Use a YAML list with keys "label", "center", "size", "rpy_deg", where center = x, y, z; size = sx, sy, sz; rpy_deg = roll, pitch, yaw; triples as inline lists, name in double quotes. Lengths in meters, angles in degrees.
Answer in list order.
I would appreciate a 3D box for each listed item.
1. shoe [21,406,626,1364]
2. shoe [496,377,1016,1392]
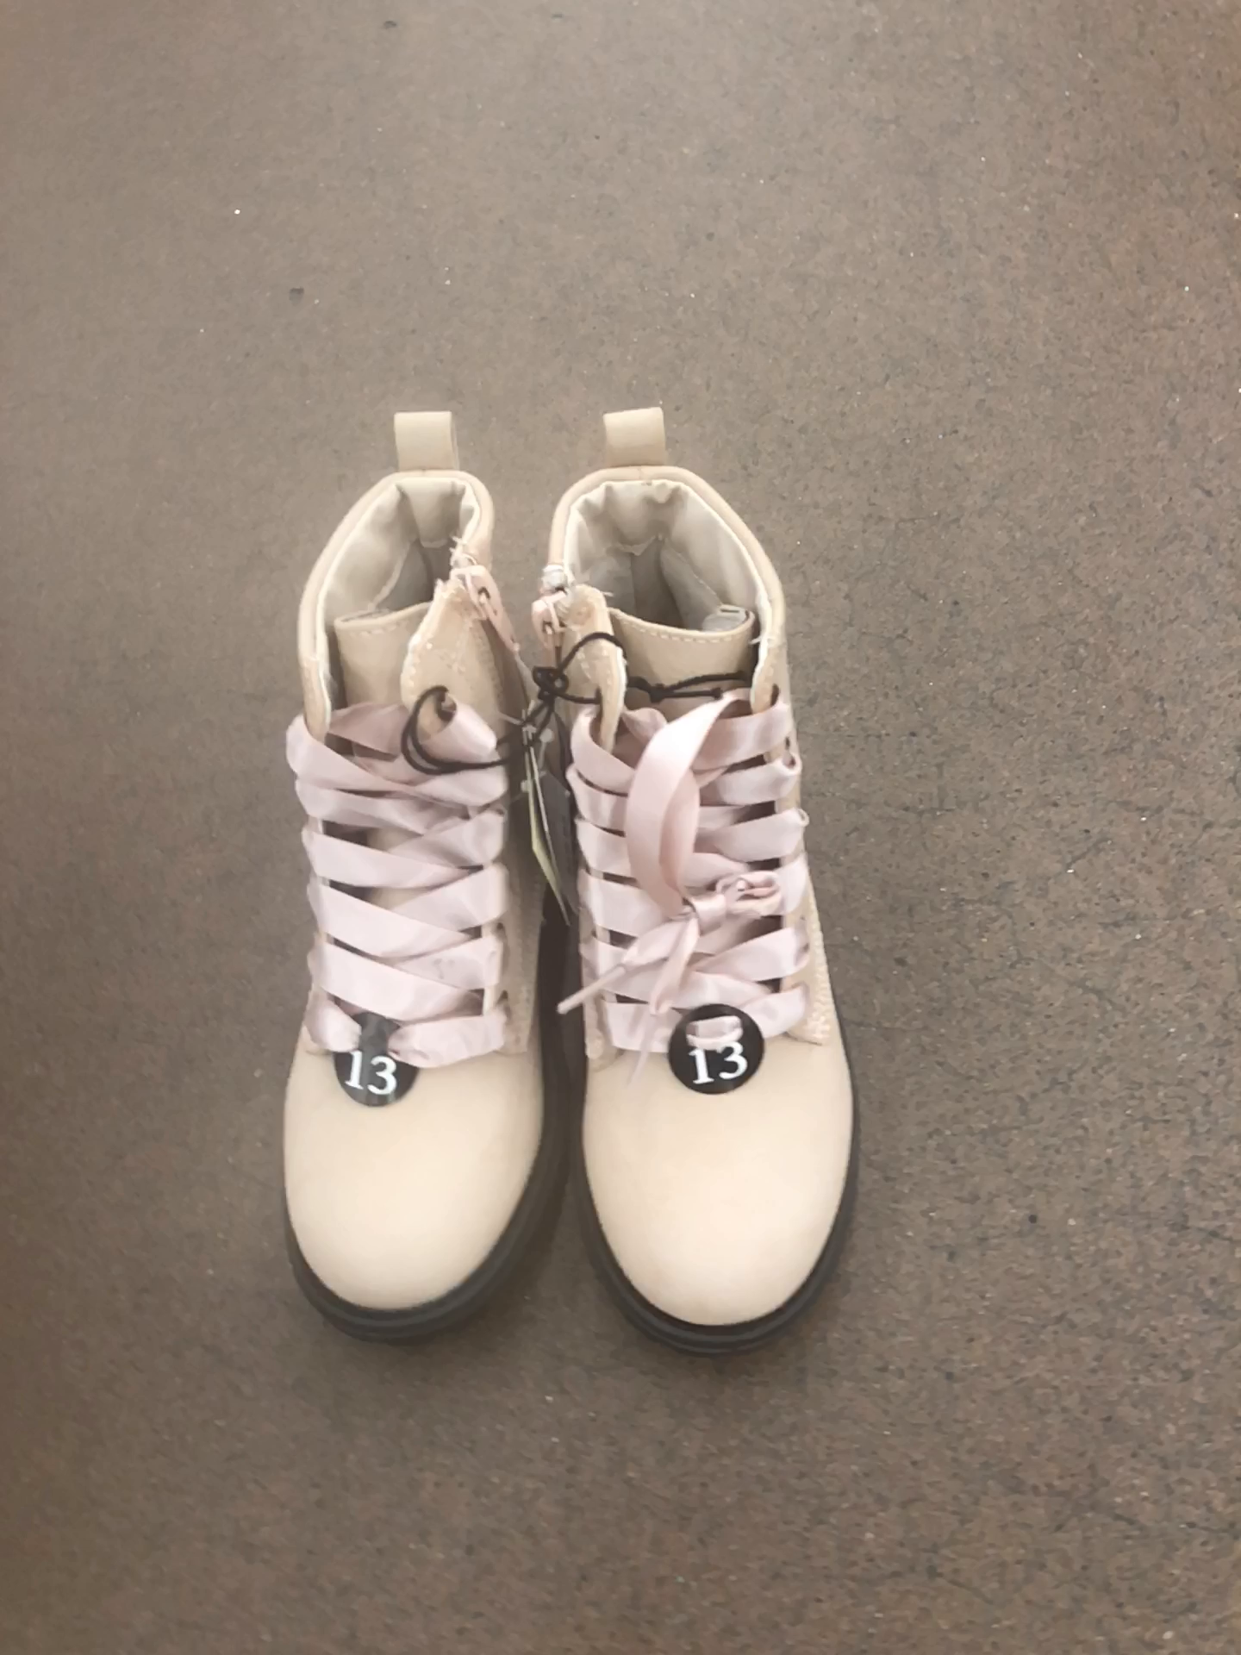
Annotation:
- label: "shoe"
  center: [-0.059, 0.021, 0.383]
  size: [0.090, 0.150, 0.220]
  rpy_deg: [3, 64, 6]
- label: "shoe"
  center: [0.025, 0.022, 0.364]
  size: [0.090, 0.150, 0.220]
  rpy_deg: [-5, 63, 2]
